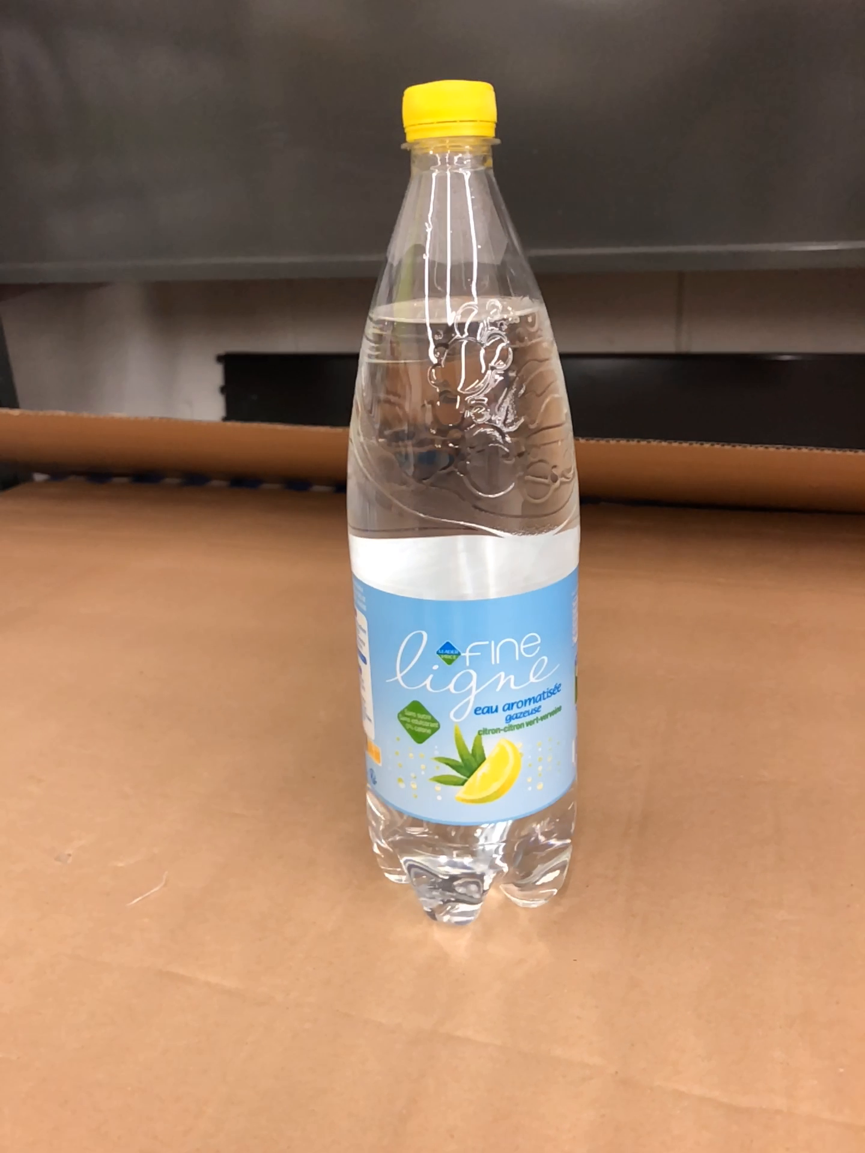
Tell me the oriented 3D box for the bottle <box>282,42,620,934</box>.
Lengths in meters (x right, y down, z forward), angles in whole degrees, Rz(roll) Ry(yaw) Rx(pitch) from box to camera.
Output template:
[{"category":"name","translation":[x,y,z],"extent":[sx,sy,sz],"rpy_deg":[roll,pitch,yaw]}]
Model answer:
[{"category":"bottle","translation":[0.009,-0.020,0.343],"extent":[0.090,0.289,0.080],"rpy_deg":[-4,21,-4]}]
